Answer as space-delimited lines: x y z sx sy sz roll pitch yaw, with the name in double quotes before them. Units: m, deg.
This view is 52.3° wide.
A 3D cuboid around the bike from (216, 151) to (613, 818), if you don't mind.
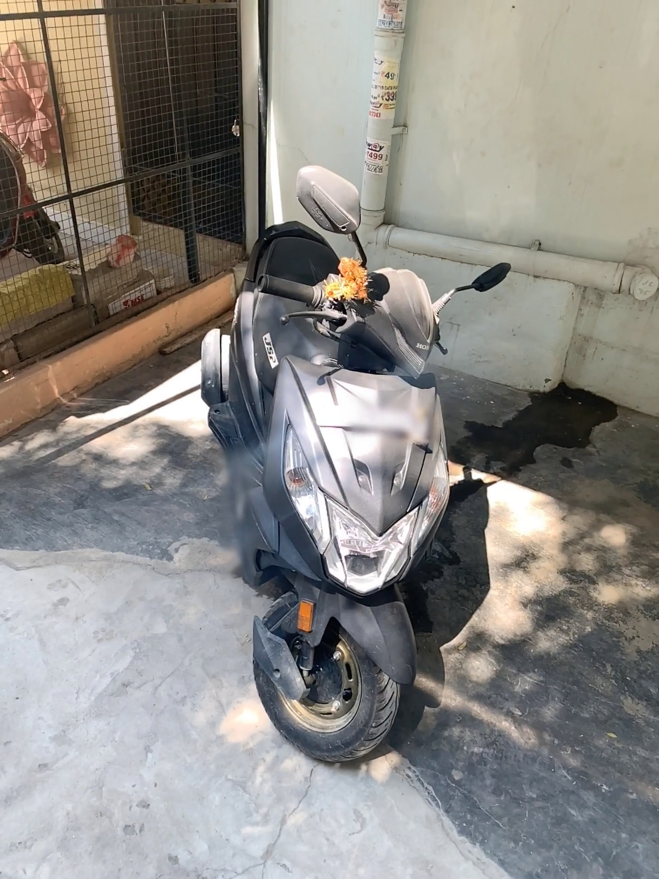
"bike" 0.024 0.020 2.066 0.502 1.279 1.515 -6 38 -14
